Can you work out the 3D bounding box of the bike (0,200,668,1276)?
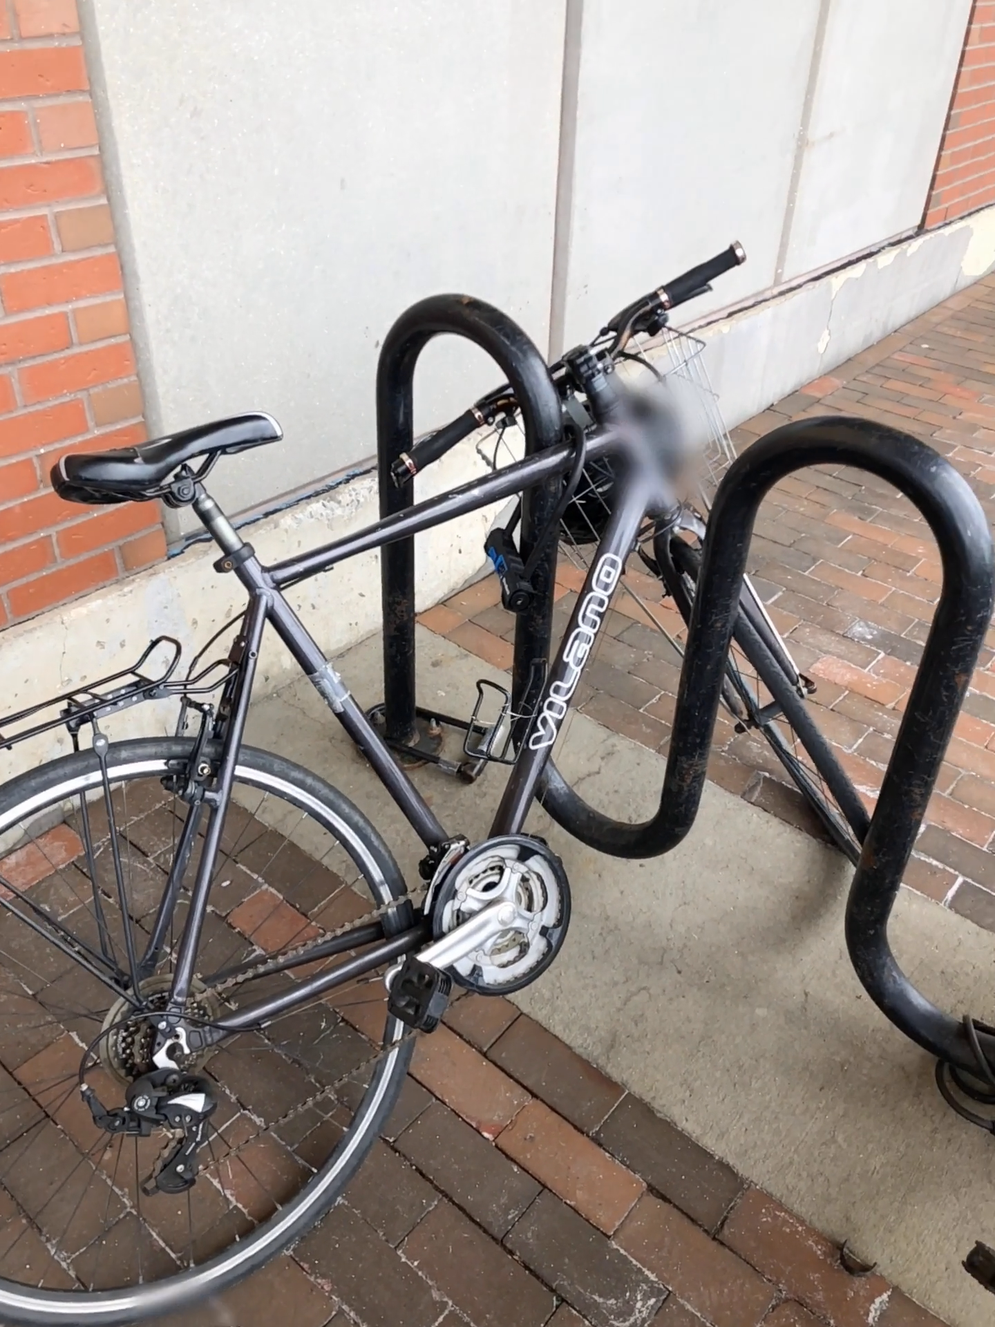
[{"bbox_3d":[-0.442,-0.130,1.617,0.744,0.734,1.421,28,41,31],"label":"bike"}]
